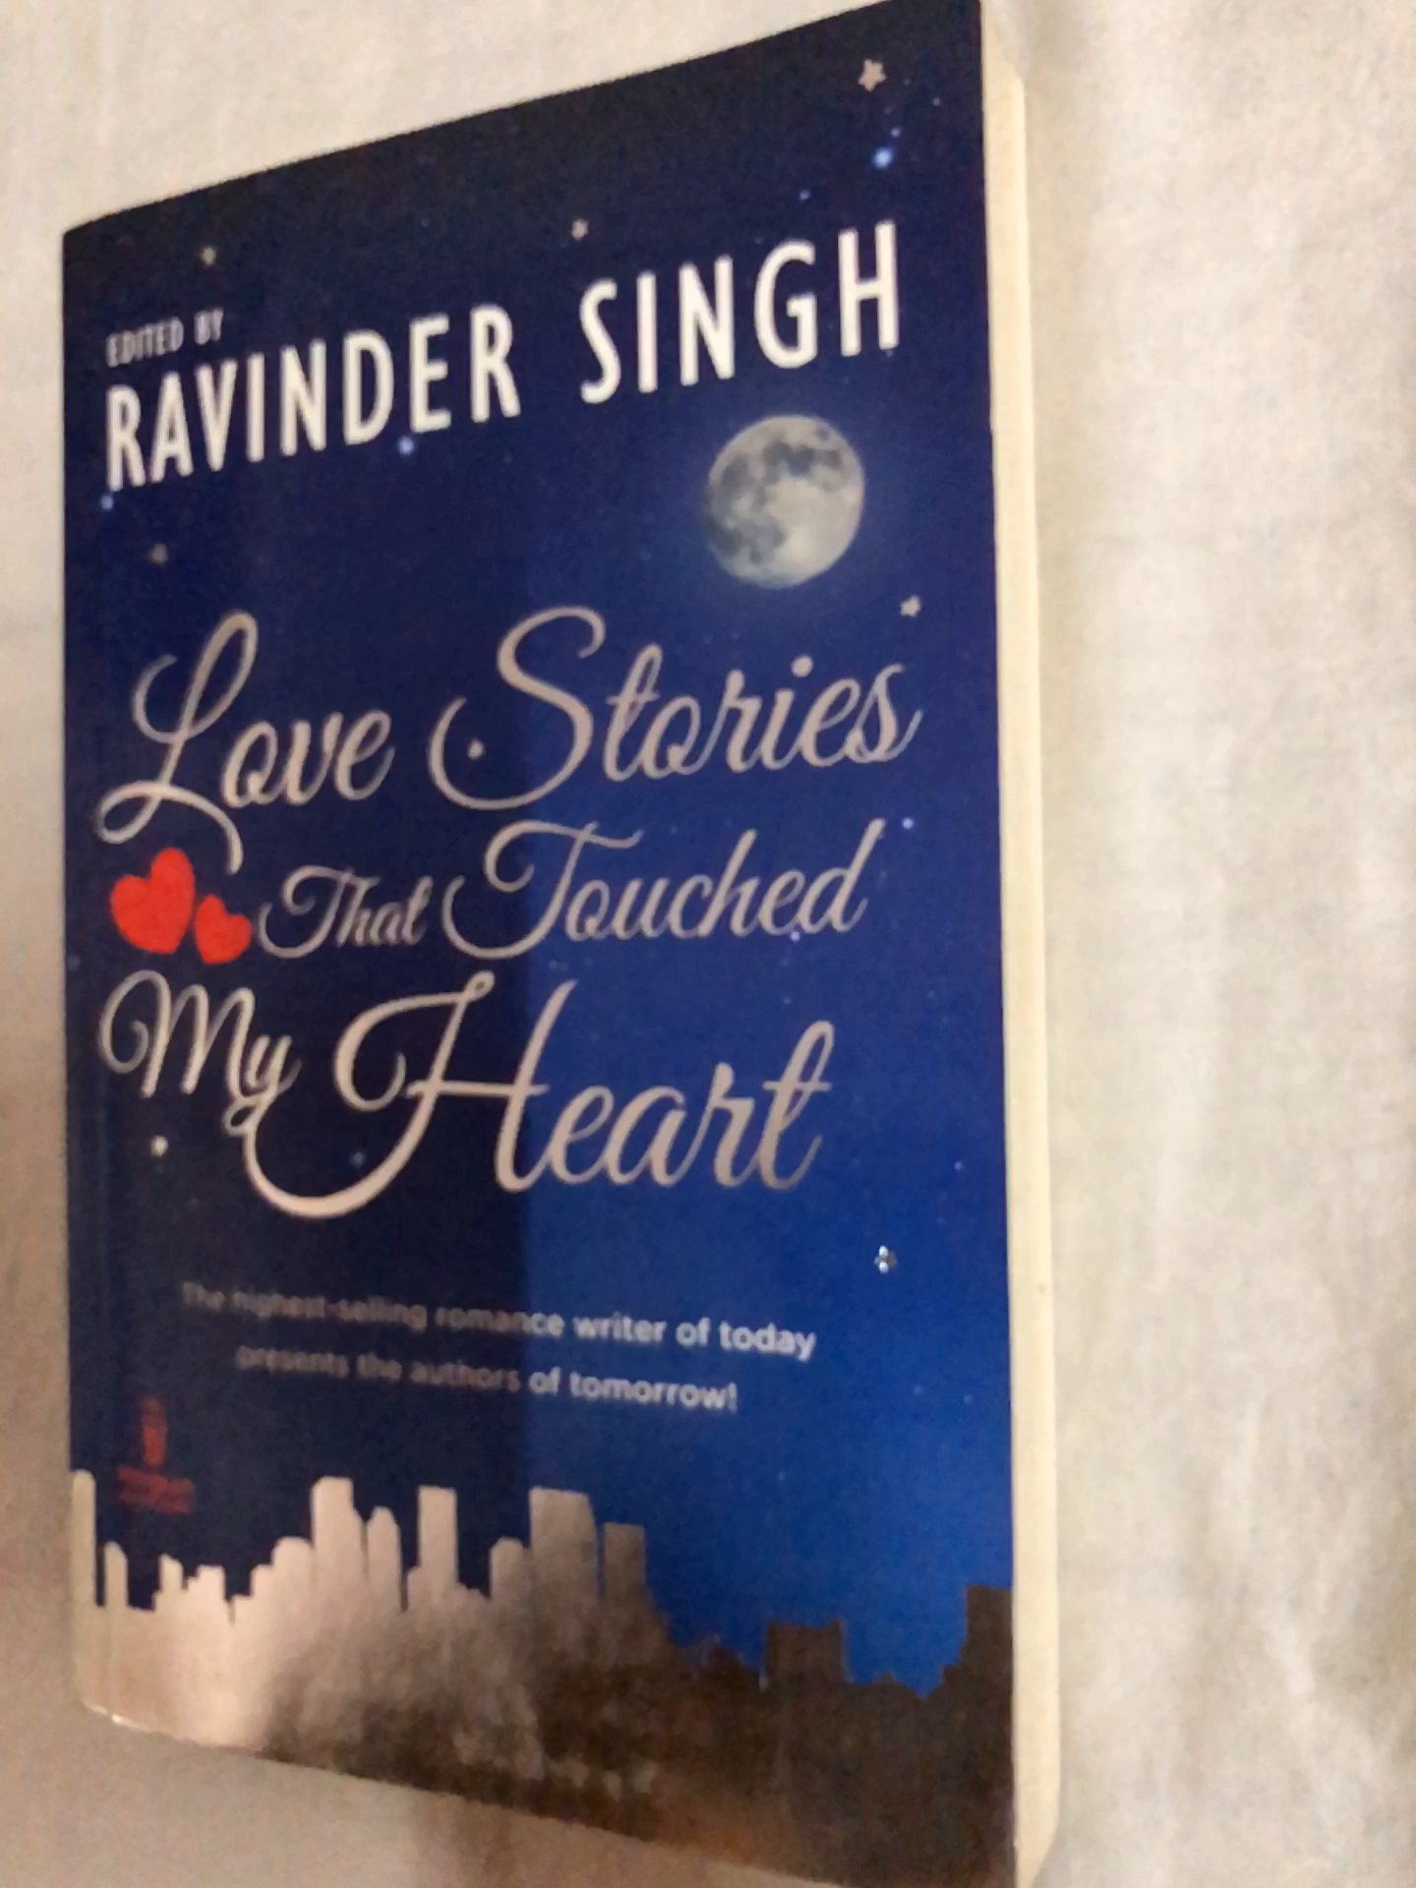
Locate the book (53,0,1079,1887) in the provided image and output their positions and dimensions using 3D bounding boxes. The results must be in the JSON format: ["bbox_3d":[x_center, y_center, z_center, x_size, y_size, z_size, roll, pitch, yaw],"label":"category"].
[{"bbox_3d":[-0.022,0.007,0.203,0.130,0.030,0.210,0,89,25],"label":"book"}]
